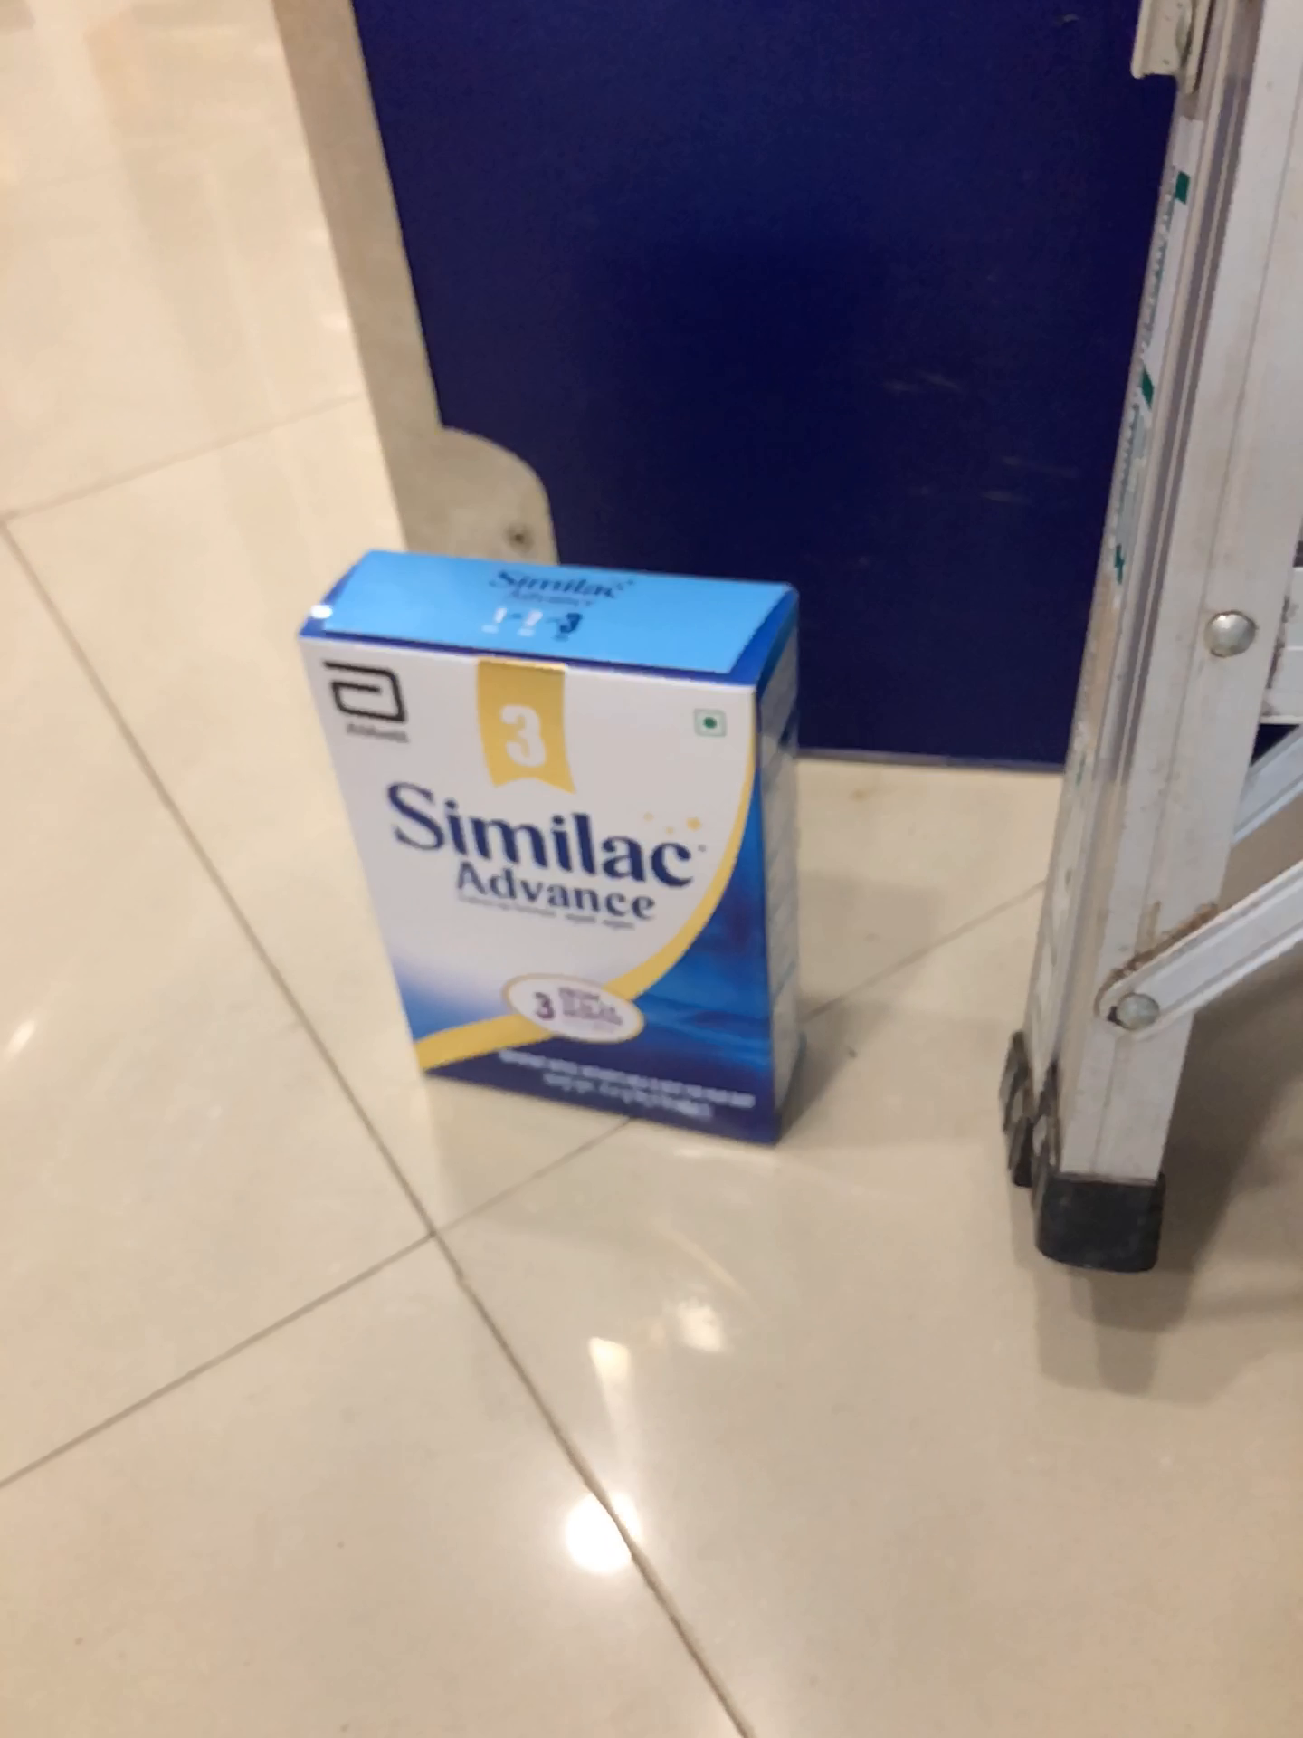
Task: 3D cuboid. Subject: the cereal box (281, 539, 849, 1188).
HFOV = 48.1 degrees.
[{"bbox_3d":[-0.014,0.005,0.449,0.140,0.199,0.050,10,46,17],"label":"cereal box"}]
